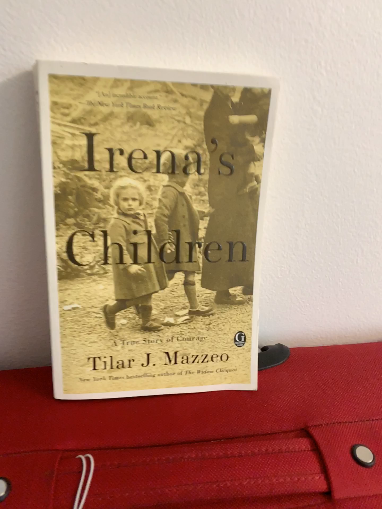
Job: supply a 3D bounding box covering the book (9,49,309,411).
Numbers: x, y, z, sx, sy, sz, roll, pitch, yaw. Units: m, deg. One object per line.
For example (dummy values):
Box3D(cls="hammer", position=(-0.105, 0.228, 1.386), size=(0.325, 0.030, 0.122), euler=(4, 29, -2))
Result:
Box3D(cls="book", position=(-0.016, -0.008, 0.269), size=(0.170, 0.229, 0.030), euler=(-2, 15, -6))
